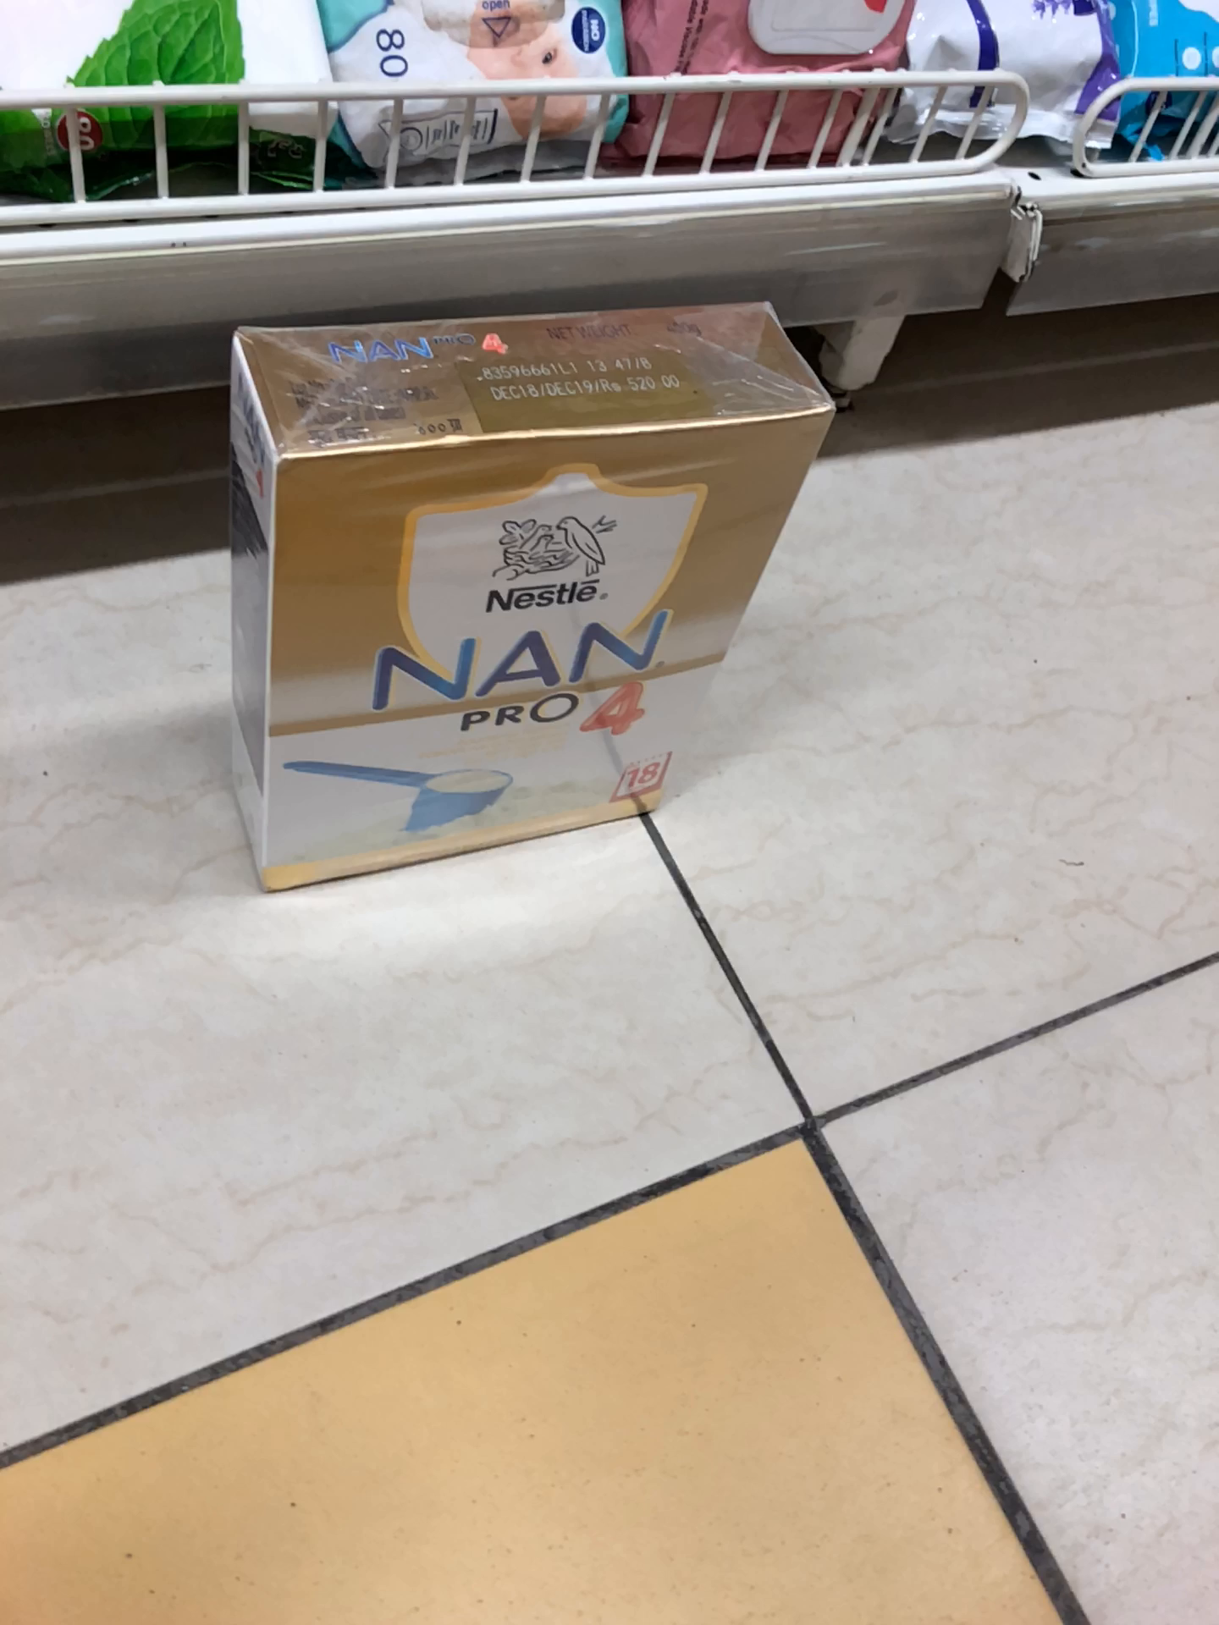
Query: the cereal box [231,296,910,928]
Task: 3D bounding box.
[{"bbox_3d":[-0.025,-0.053,0.402,0.161,0.189,0.050,-12,59,-24],"label":"cereal box"}]
